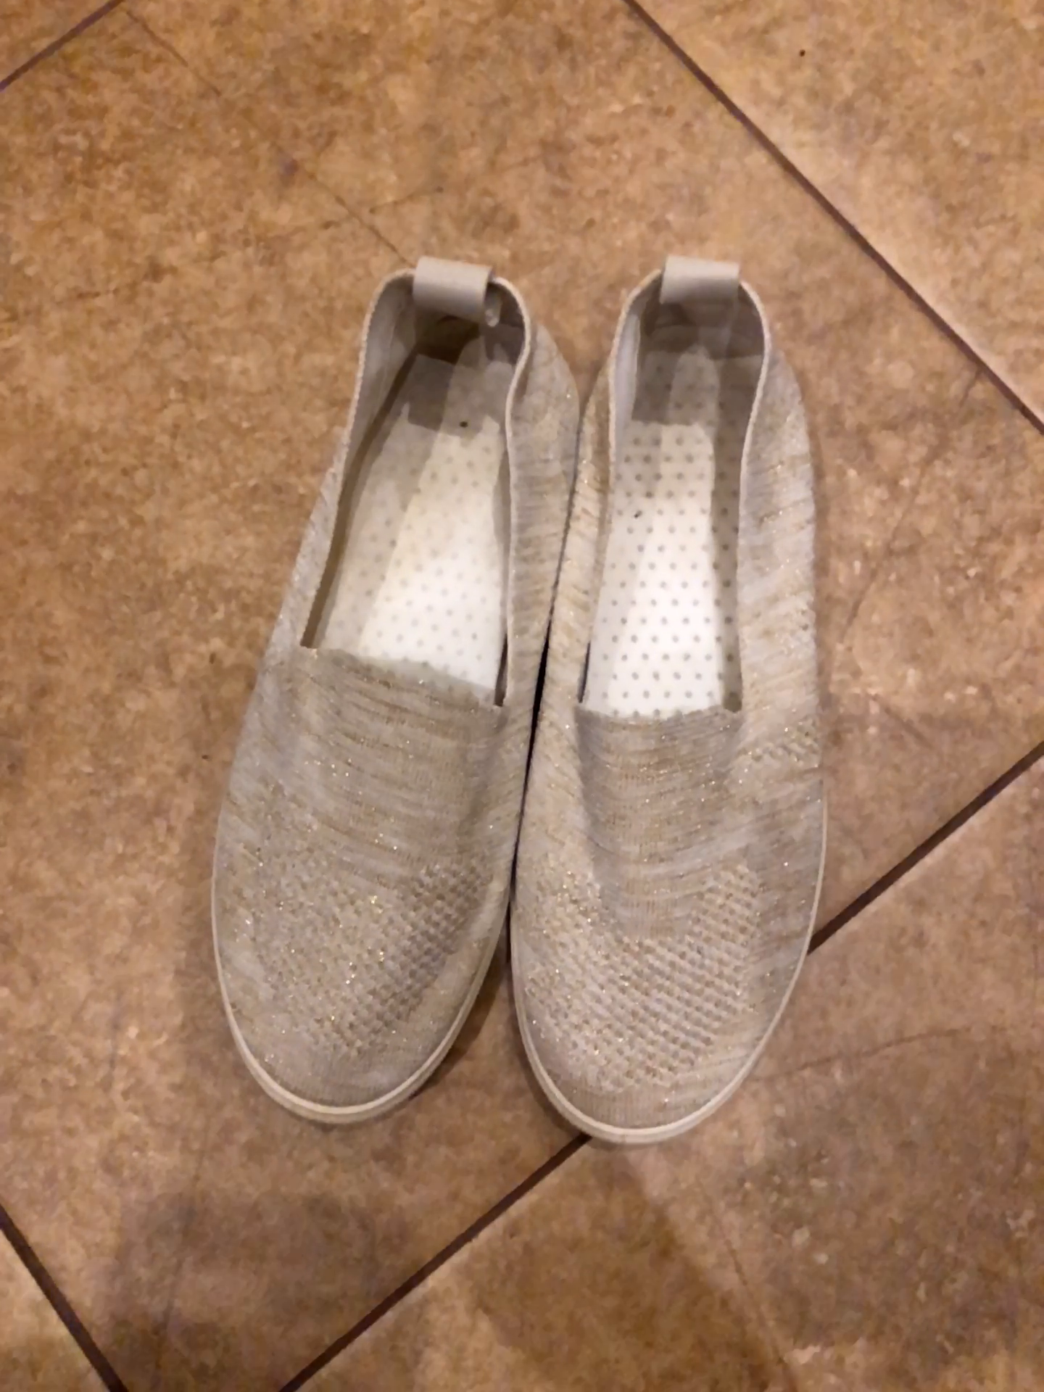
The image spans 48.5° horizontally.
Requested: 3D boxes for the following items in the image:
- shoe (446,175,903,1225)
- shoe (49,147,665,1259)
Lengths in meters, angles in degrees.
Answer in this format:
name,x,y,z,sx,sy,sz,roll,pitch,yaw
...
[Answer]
name,x,y,z,sx,sy,sz,roll,pitch,yaw
shoe,0.044,-0.004,0.329,0.100,0.080,0.260,4,80,4
shoe,-0.032,-0.003,0.309,0.090,0.080,0.250,11,81,5
